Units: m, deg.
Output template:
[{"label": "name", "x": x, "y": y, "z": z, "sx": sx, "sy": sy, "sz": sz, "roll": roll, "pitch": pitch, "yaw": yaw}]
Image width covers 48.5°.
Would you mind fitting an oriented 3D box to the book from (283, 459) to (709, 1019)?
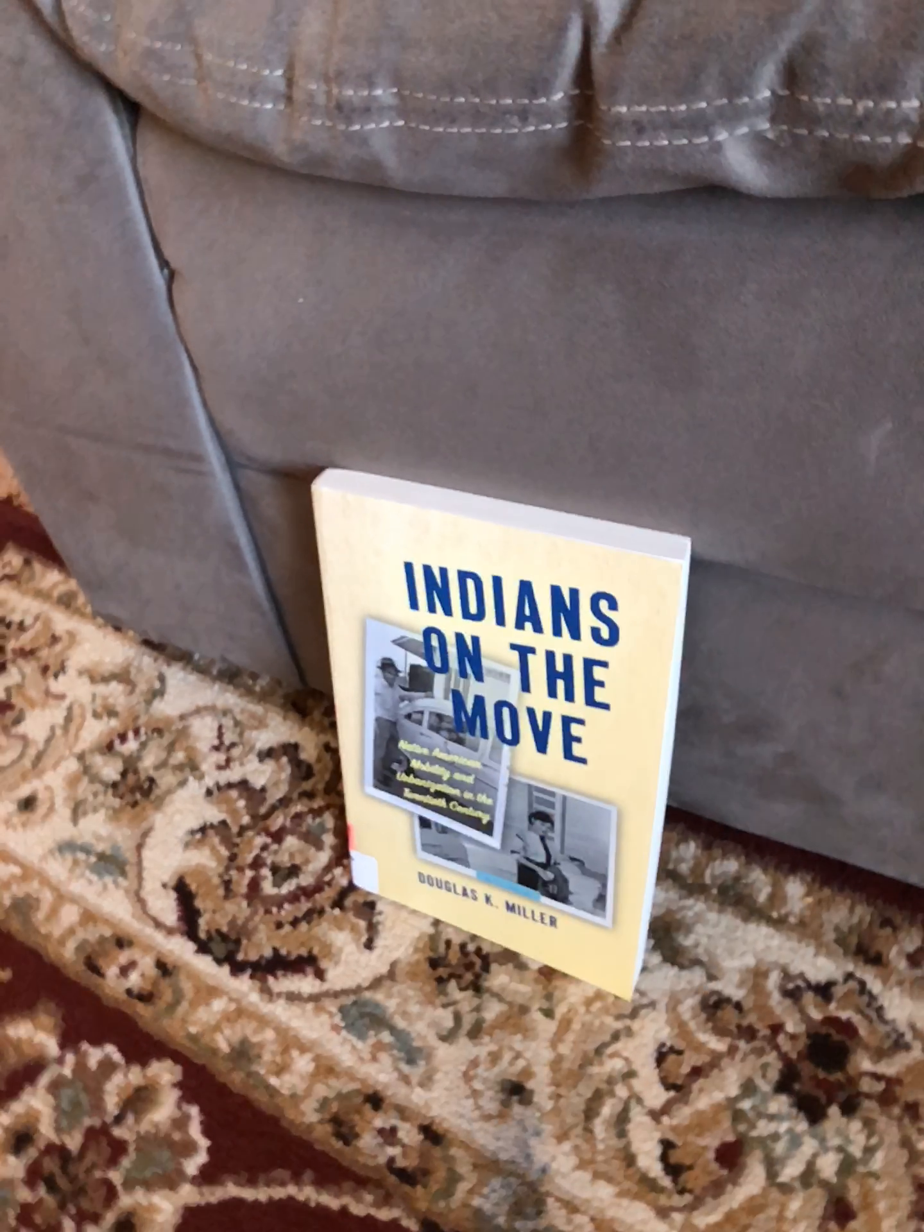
[{"label": "book", "x": 0.014, "y": 0.057, "z": 0.438, "sx": 0.160, "sy": 0.230, "sz": 0.030, "roll": 14, "pitch": 37, "yaw": 26}]
